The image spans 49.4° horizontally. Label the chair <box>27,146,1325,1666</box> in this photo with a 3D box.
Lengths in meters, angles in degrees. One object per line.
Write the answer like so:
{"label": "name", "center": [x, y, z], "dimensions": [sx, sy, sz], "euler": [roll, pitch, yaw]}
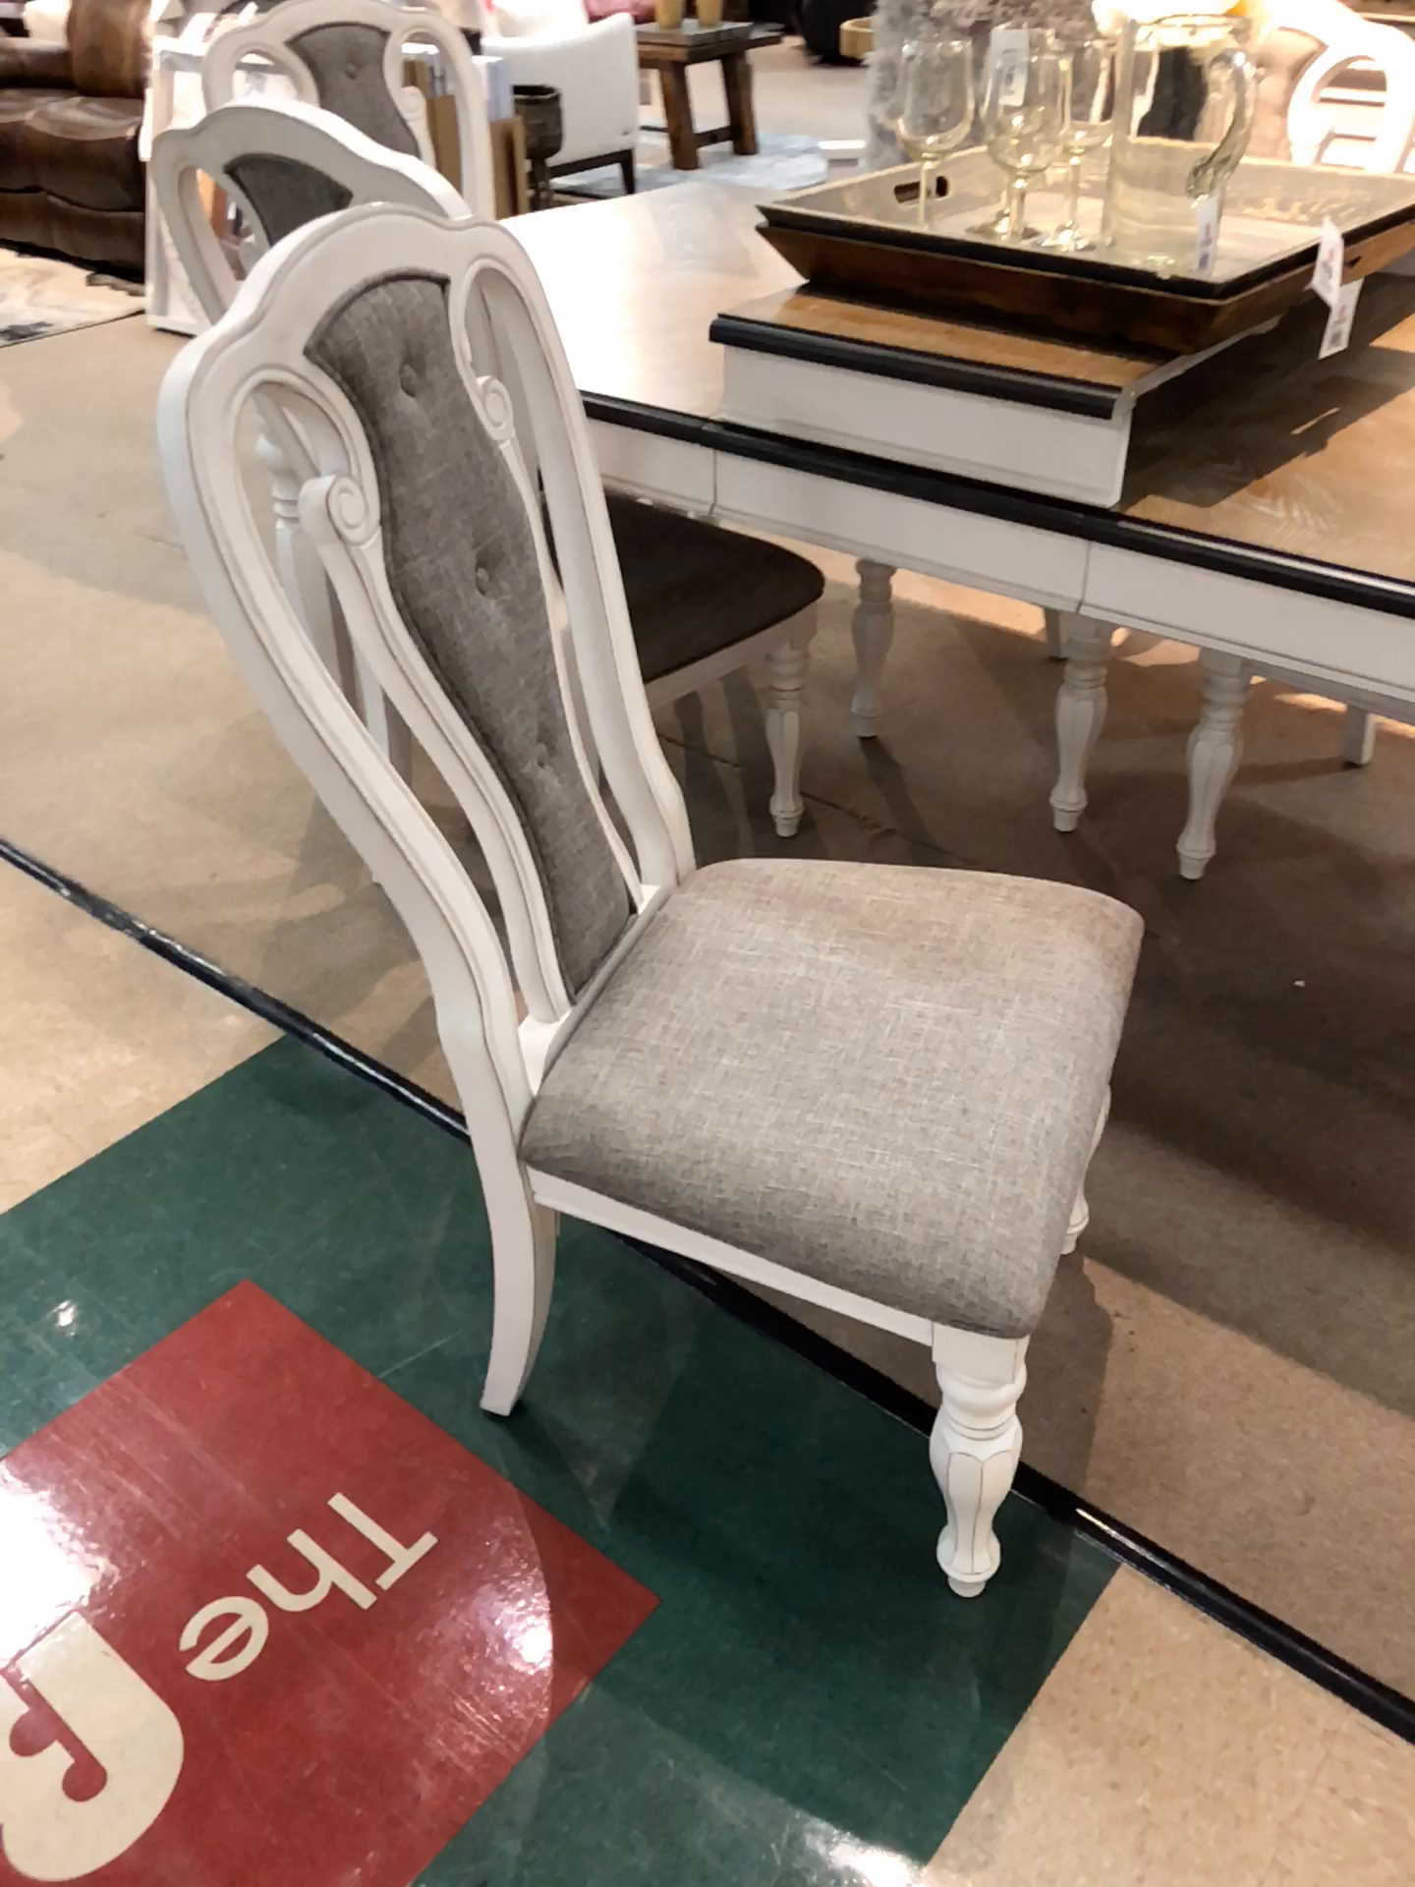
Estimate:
{"label": "chair", "center": [0.036, -0.040, 1.276], "dimensions": [0.671, 1.013, 0.553], "euler": [12, 38, 18]}
